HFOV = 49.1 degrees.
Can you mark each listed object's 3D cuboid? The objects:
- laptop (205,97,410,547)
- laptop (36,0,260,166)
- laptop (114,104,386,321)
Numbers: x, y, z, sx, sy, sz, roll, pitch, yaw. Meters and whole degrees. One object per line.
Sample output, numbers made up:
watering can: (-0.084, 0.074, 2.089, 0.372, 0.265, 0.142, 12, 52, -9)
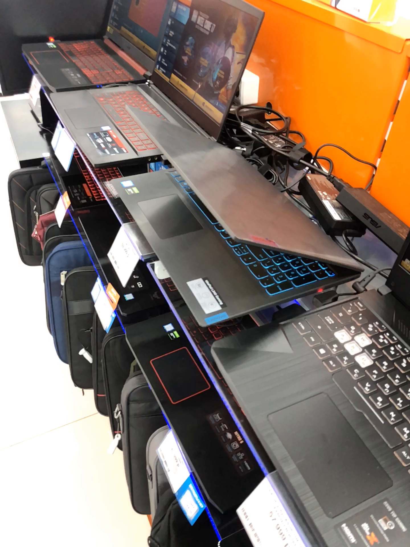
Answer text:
laptop: (0.216, 0.066, 0.347, 0.277, 0.250, 0.385, -14, 43, -20)
laptop: (-0.127, -0.438, 0.924, 0.325, 0.228, 0.349, -16, 45, -22)
laptop: (0.035, -0.120, 0.660, 0.241, 0.118, 0.349, -15, 43, -20)
